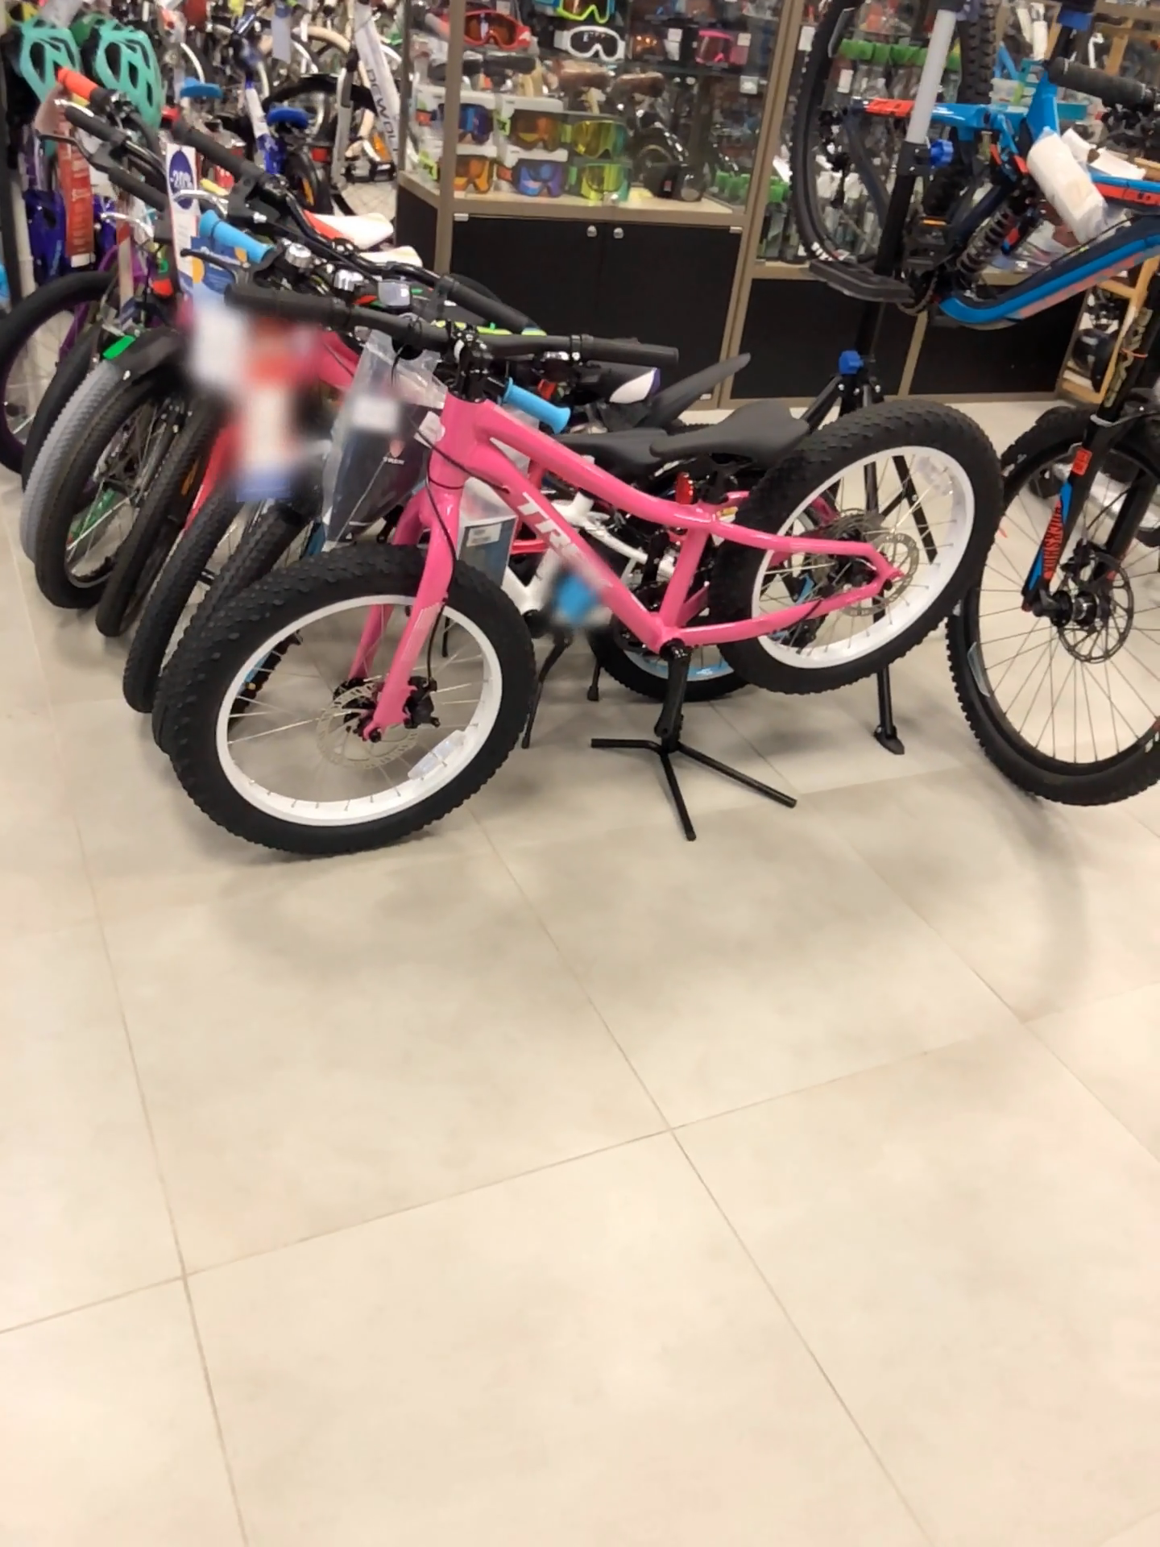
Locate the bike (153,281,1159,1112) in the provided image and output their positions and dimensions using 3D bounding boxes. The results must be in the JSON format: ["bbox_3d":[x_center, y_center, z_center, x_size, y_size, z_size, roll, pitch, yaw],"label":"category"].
[{"bbox_3d":[0.101,-0.199,1.837,1.337,0.668,0.573,-14,38,-20],"label":"bike"}]
